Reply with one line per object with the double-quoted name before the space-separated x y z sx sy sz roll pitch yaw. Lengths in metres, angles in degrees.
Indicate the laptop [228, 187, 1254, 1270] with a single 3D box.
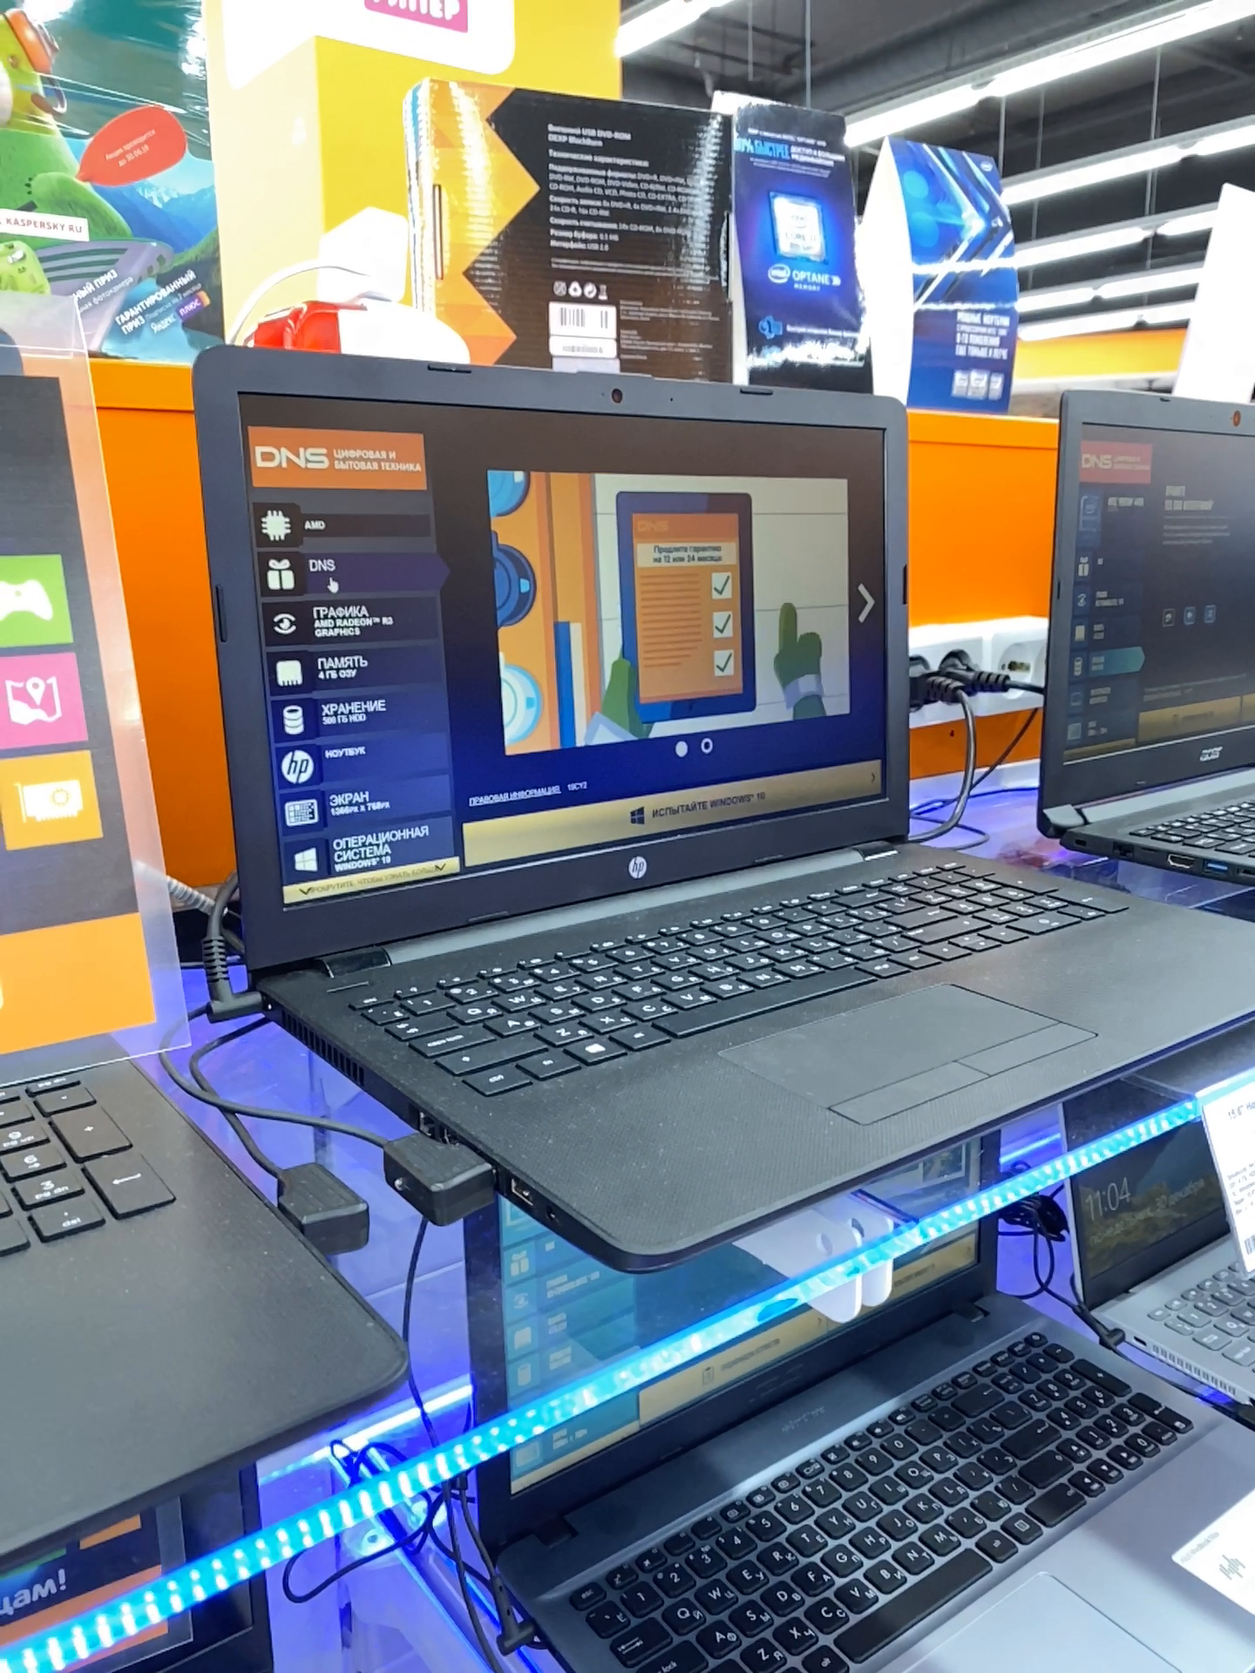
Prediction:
"laptop" 0.082 -0.062 0.490 0.369 0.231 0.272 -9 16 -36
